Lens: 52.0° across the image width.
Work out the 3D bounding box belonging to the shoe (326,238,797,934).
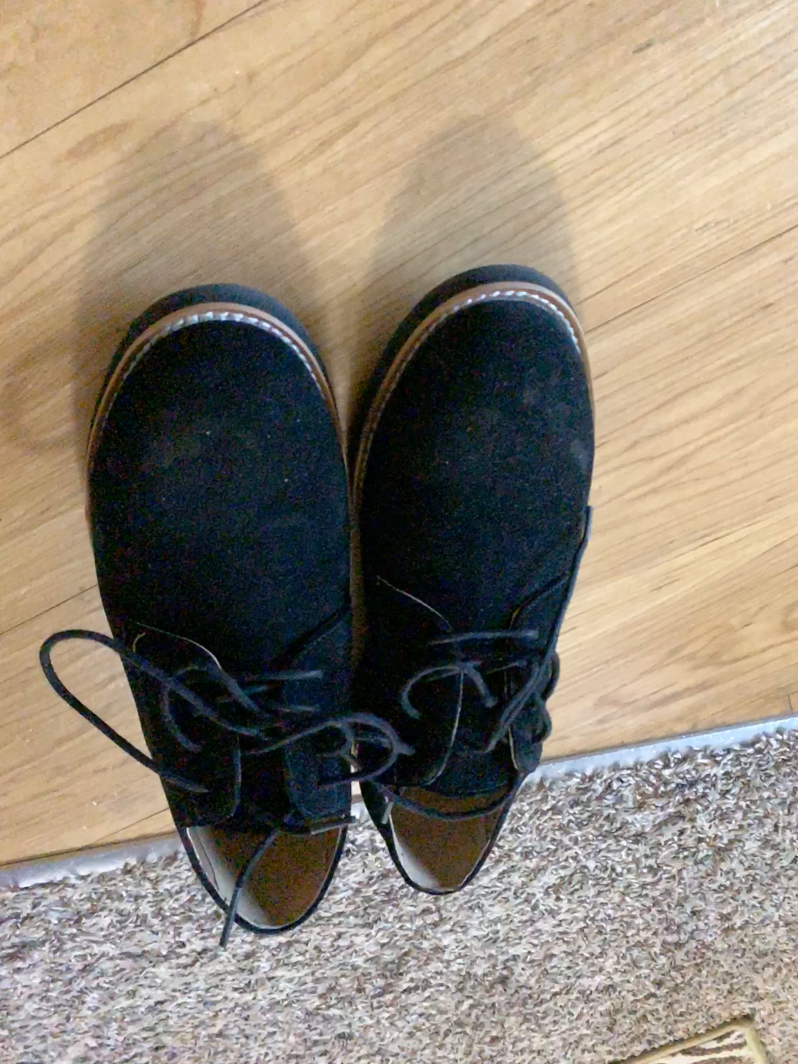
[{"bbox_3d":[0.038,0.048,0.345,0.110,0.070,0.312,-1,127,-13],"label":"shoe"}]

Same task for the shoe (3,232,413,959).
[{"bbox_3d":[-0.058,0.051,0.325,0.100,0.070,0.312,-5,128,-10],"label":"shoe"}]
